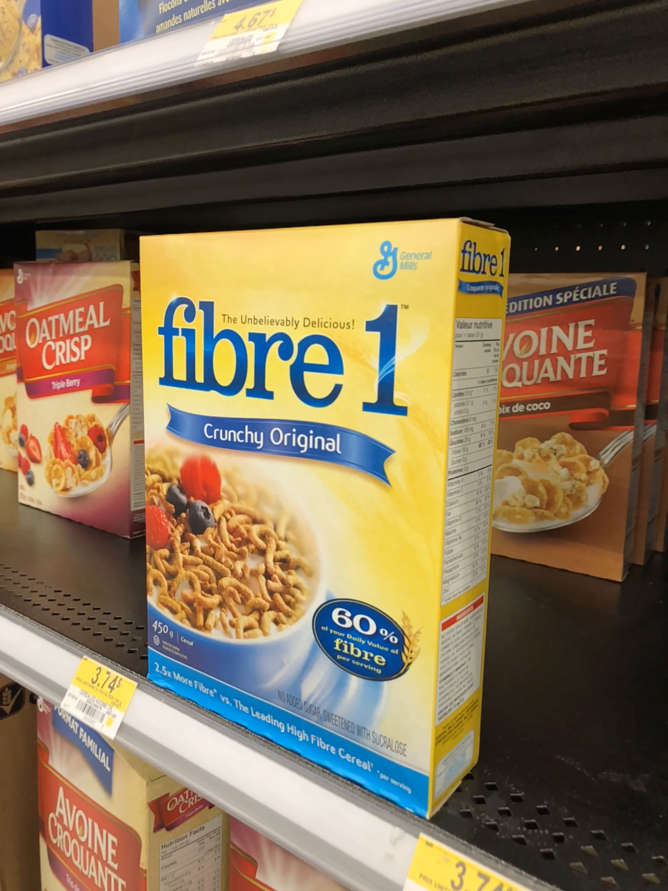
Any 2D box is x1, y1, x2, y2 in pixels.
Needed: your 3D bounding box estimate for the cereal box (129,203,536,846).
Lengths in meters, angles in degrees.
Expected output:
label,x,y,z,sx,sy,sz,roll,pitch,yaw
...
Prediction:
label,x,y,z,sx,sy,sz,roll,pitch,yaw
cereal box,-0.014,0.023,0.372,0.200,0.259,0.060,9,13,38
